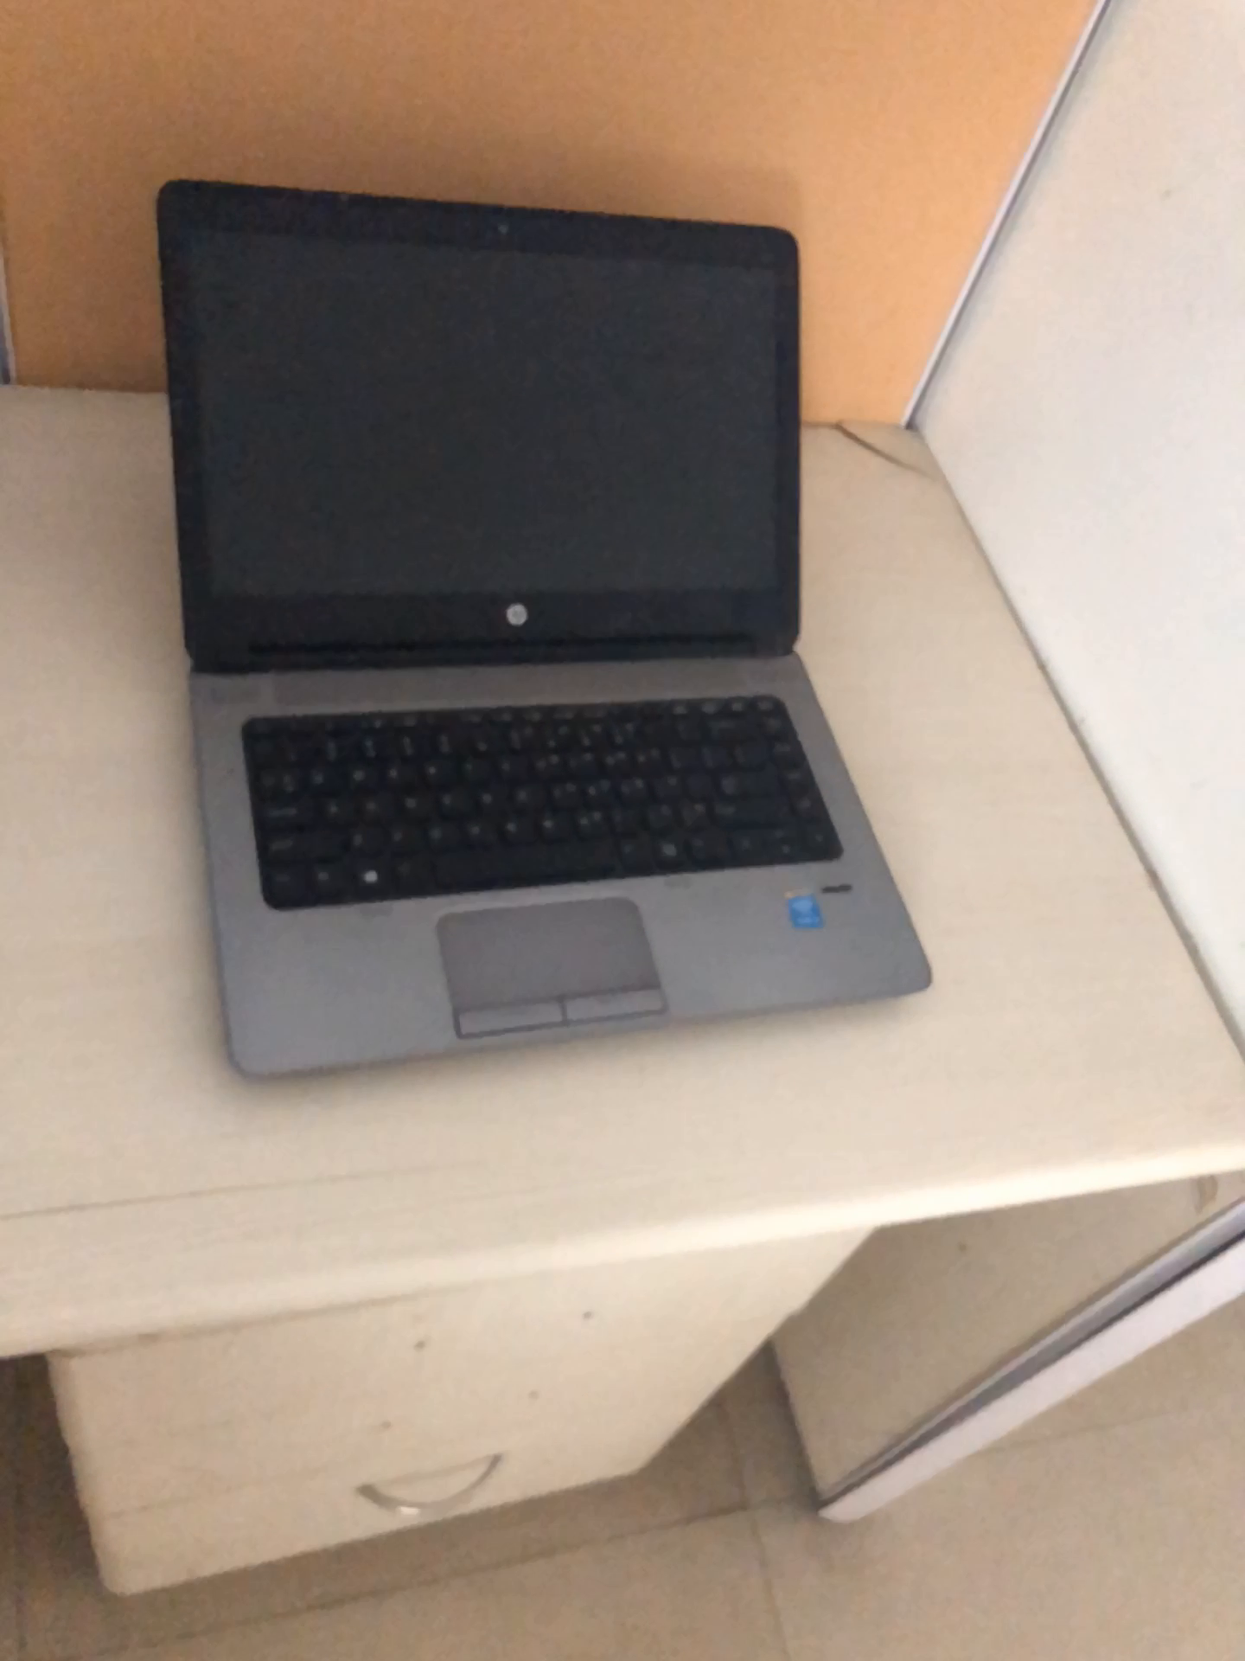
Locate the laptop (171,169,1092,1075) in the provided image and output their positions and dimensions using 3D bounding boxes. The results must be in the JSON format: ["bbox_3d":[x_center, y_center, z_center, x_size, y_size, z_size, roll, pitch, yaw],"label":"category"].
[{"bbox_3d":[-0.029,-0.115,0.668,0.324,0.167,0.373,-5,57,-21],"label":"laptop"}]
